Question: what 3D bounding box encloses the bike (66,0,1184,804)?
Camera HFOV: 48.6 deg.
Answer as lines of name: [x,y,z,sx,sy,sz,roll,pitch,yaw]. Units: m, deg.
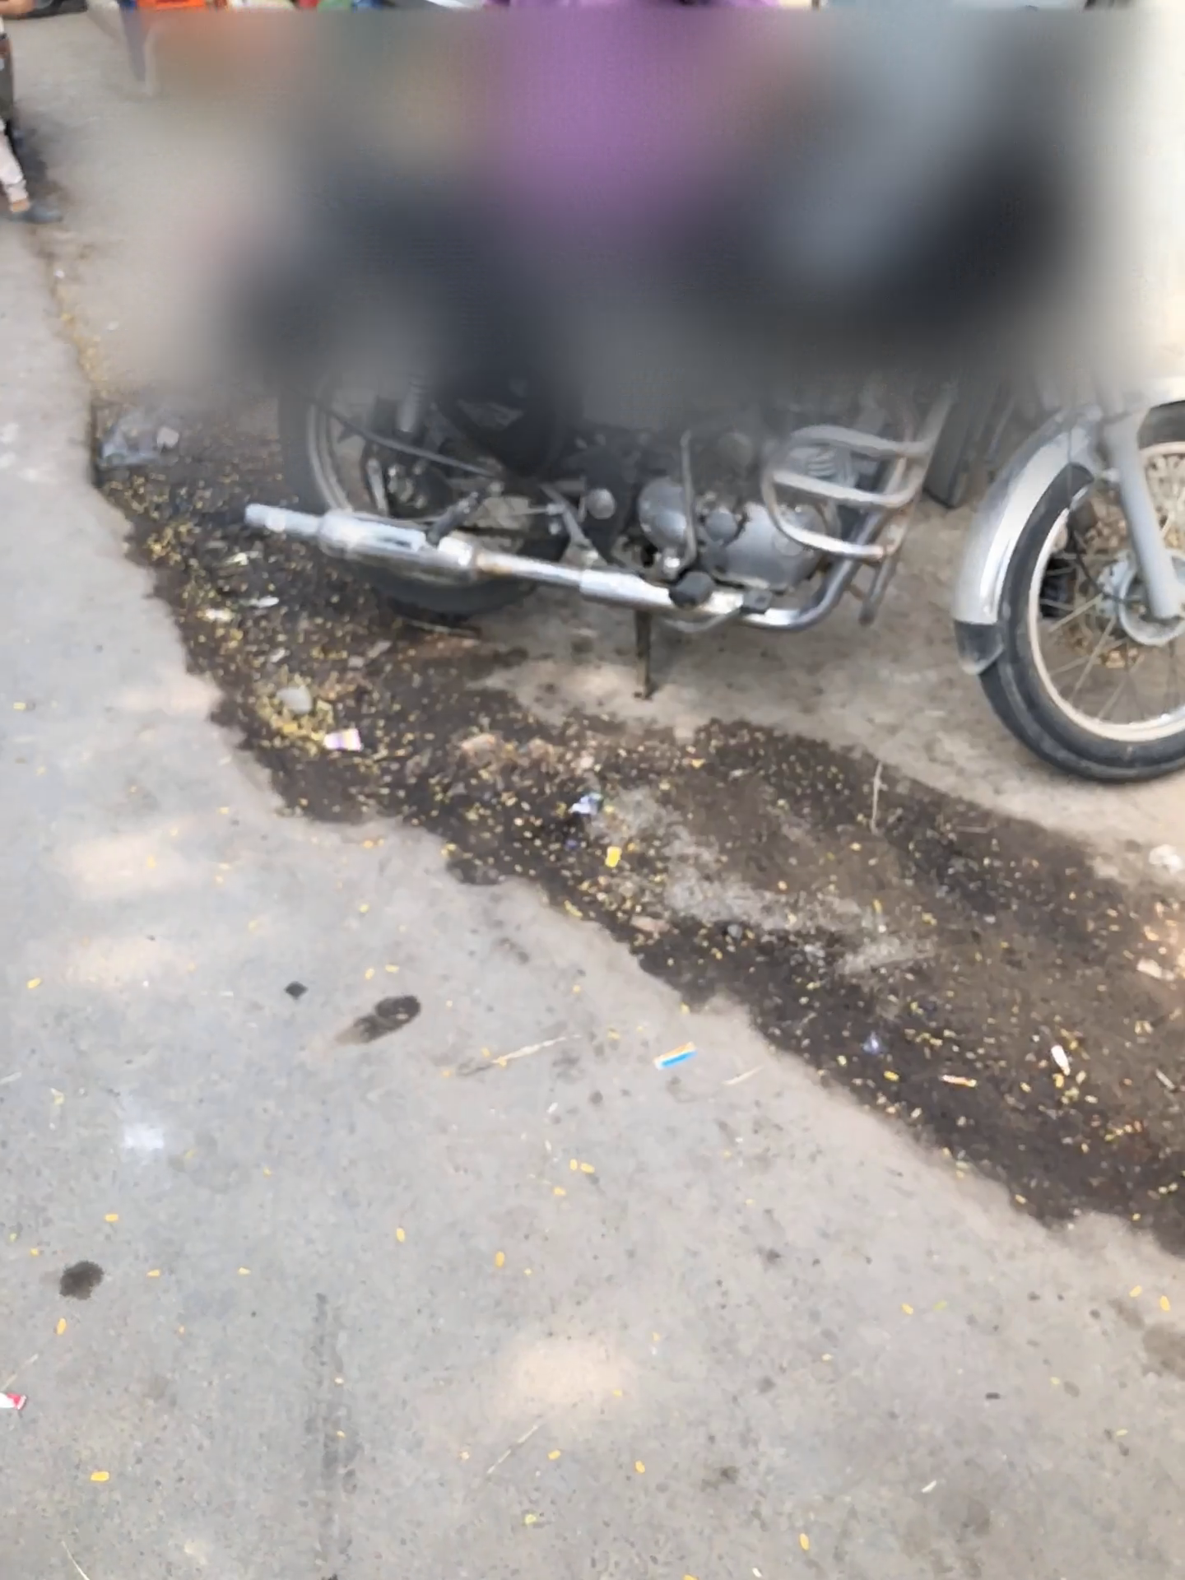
bike: [0.315,-0.815,2.385,1.918,1.172,0.844,10,36,15]
